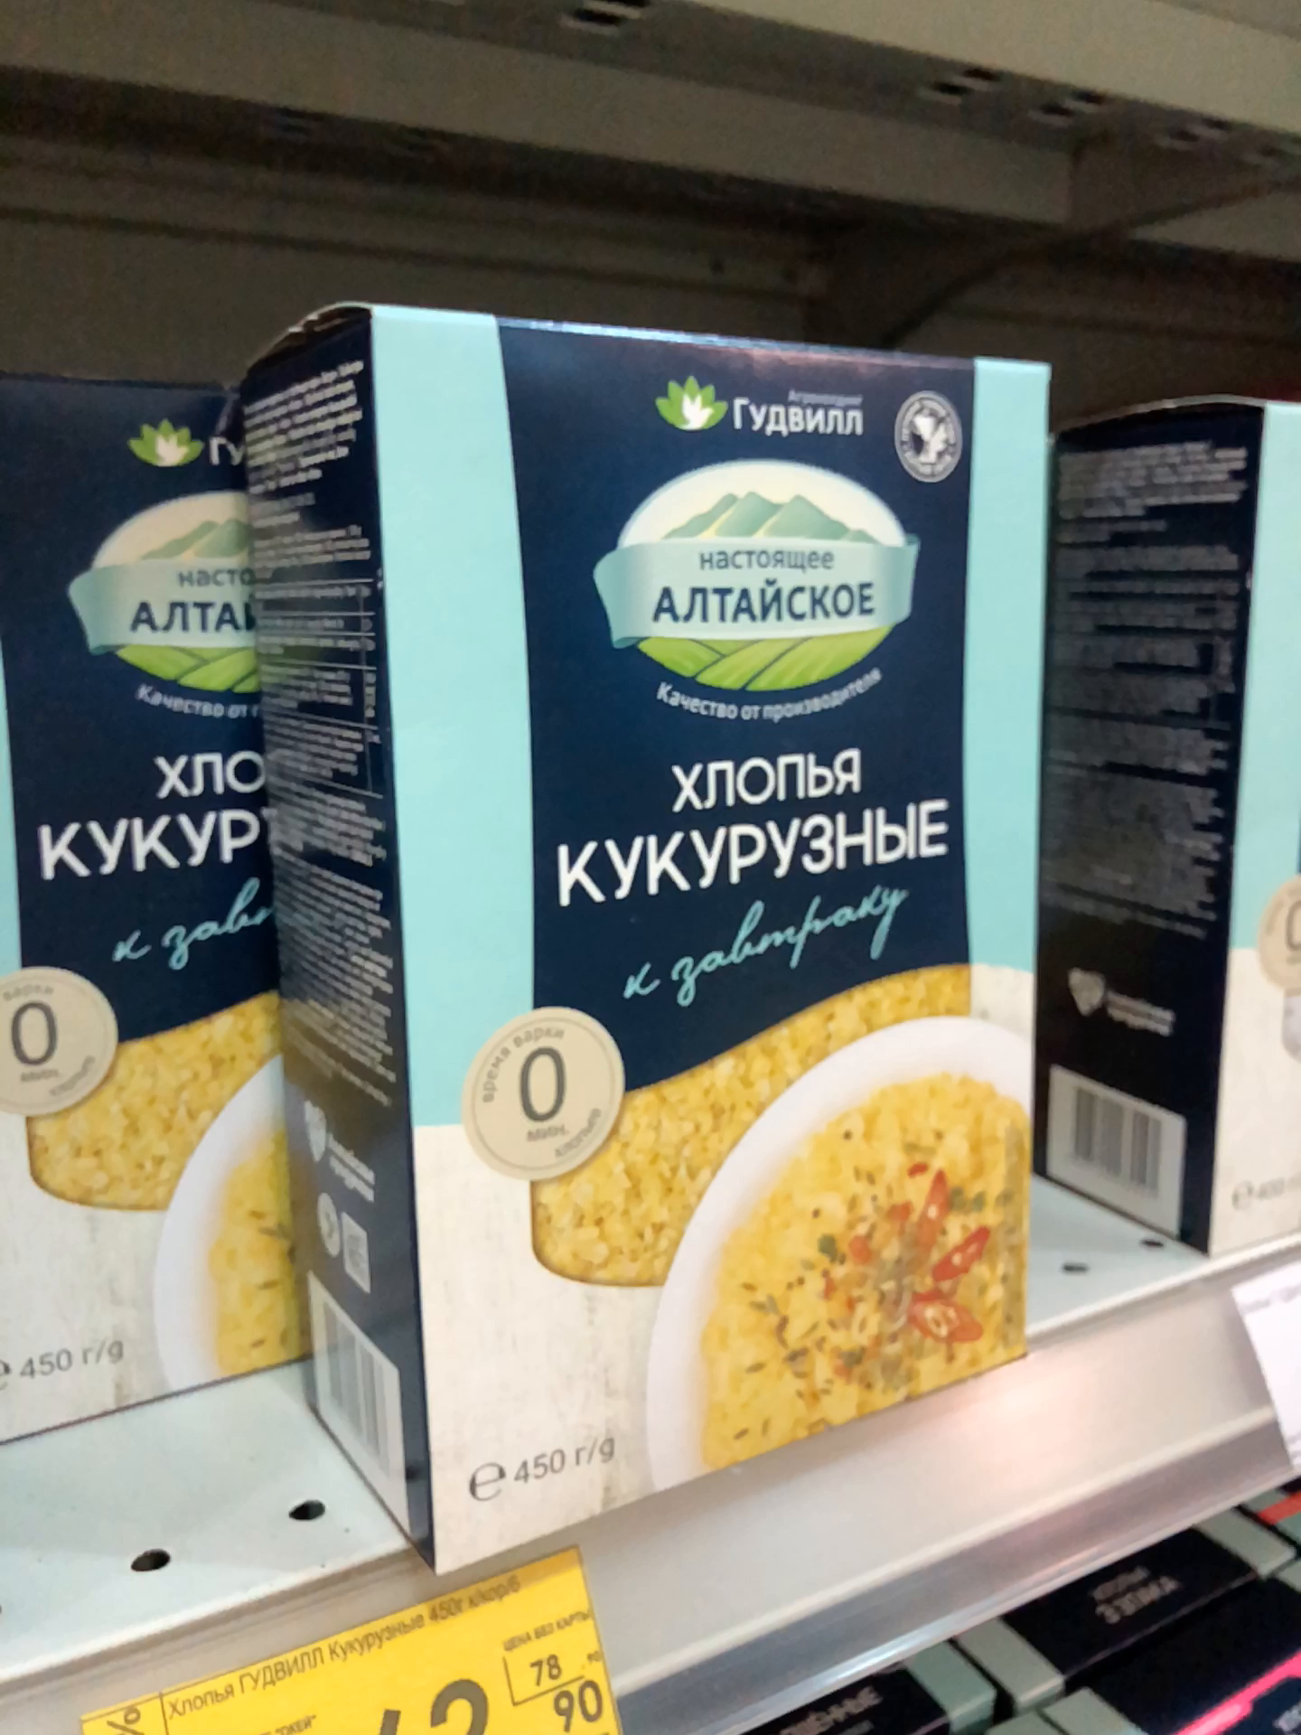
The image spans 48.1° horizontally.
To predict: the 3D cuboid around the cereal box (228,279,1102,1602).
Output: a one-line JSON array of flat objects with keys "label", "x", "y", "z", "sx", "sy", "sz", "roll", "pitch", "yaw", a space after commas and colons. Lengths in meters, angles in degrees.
[{"label": "cereal box", "x": 0.008, "y": 0.005, "z": 0.266, "sx": 0.140, "sy": 0.189, "sz": 0.060, "roll": -7, "pitch": 11, "yaw": -31}]
